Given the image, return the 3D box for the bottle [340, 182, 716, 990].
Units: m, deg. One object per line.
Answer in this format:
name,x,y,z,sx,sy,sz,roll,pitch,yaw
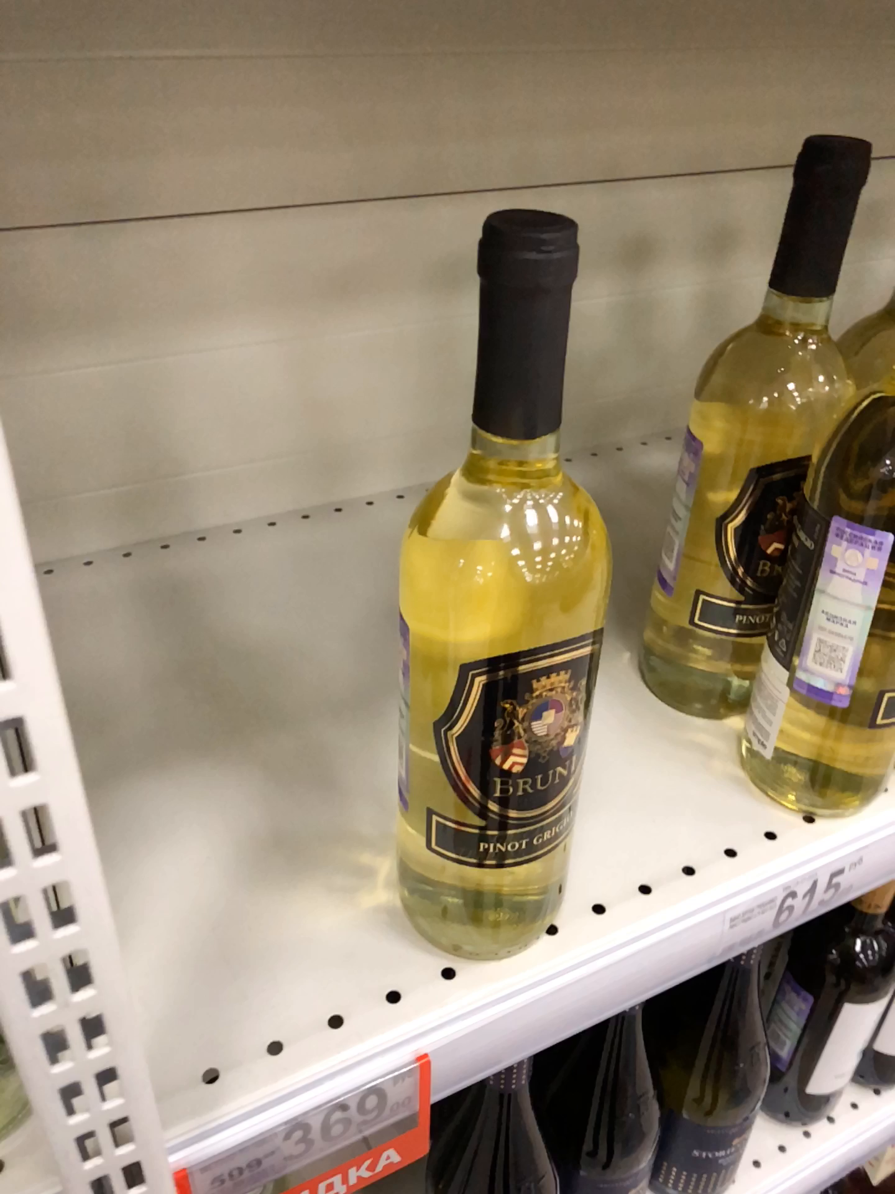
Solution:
bottle,0.015,0.010,0.366,0.080,0.288,0.080,2,34,-1
